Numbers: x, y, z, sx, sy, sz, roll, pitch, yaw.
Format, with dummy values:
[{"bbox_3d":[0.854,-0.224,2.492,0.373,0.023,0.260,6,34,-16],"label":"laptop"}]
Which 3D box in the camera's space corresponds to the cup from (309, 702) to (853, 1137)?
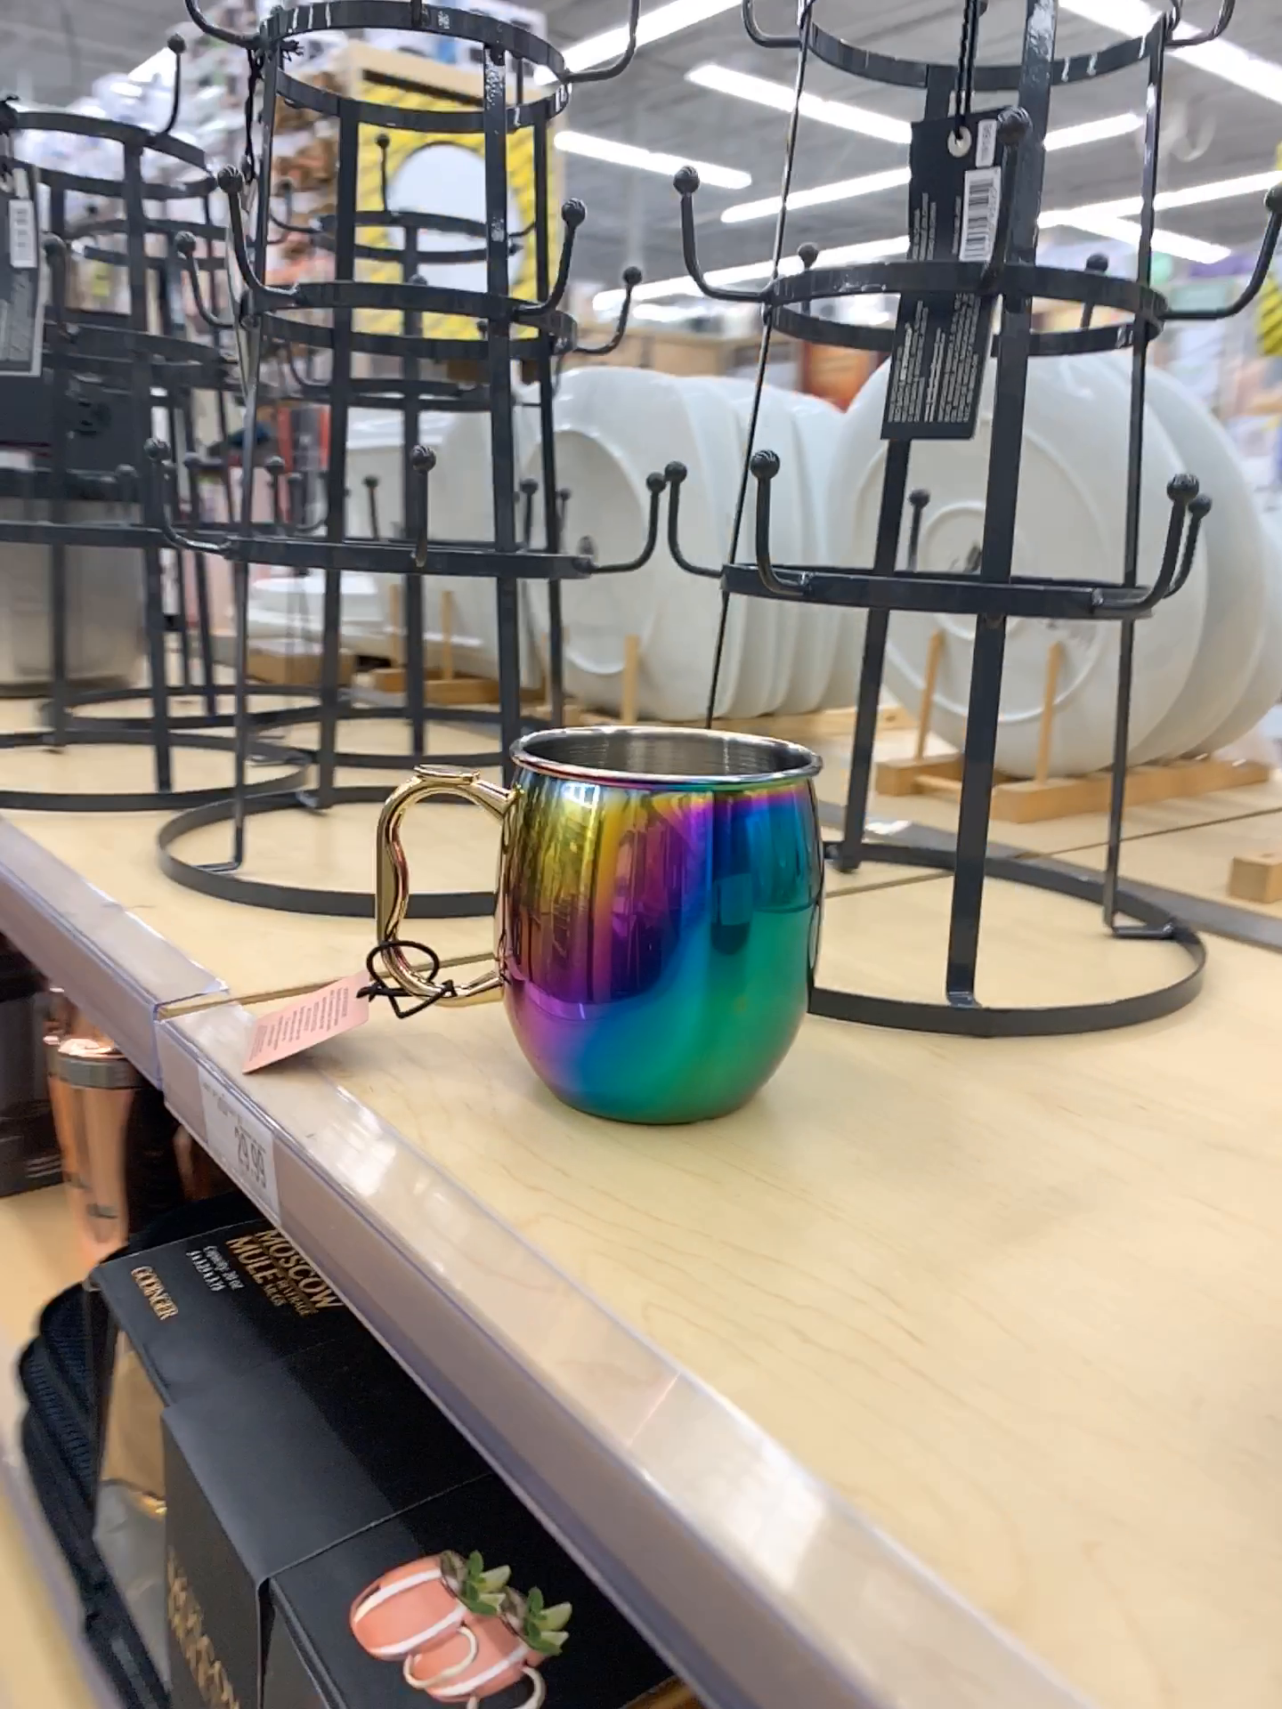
[{"bbox_3d":[-0.012,0.011,0.369,0.130,0.089,0.085,5,15,11],"label":"cup"}]
